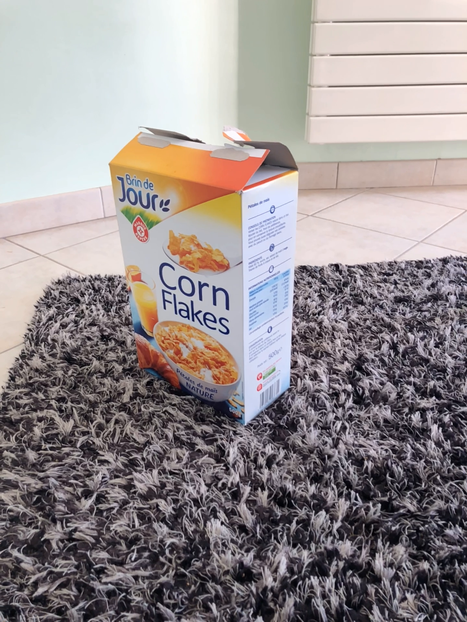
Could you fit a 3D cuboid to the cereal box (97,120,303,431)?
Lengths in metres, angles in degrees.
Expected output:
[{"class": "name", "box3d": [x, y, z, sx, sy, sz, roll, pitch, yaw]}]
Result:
[{"class": "cereal box", "box3d": [-0.039, -0.047, 0.605, 0.200, 0.308, 0.101, 22, 36, 35]}]
